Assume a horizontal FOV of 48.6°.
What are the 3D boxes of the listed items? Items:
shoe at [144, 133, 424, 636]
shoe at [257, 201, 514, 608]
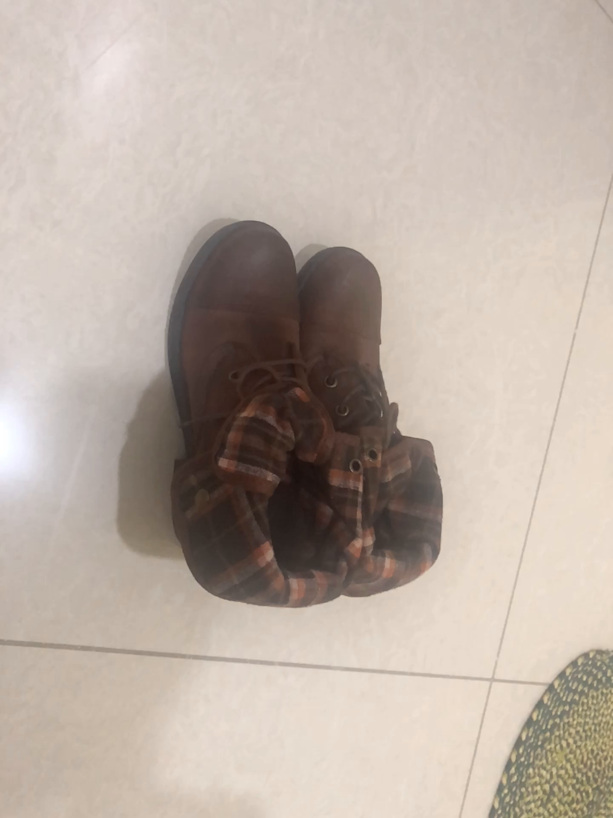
[{"bbox_3d":[-0.022,-0.015,0.471,0.111,0.149,0.280,2,93,-38],"label":"shoe"},{"bbox_3d":[0.058,-0.003,0.533,0.100,0.139,0.270,7,90,-38],"label":"shoe"}]
